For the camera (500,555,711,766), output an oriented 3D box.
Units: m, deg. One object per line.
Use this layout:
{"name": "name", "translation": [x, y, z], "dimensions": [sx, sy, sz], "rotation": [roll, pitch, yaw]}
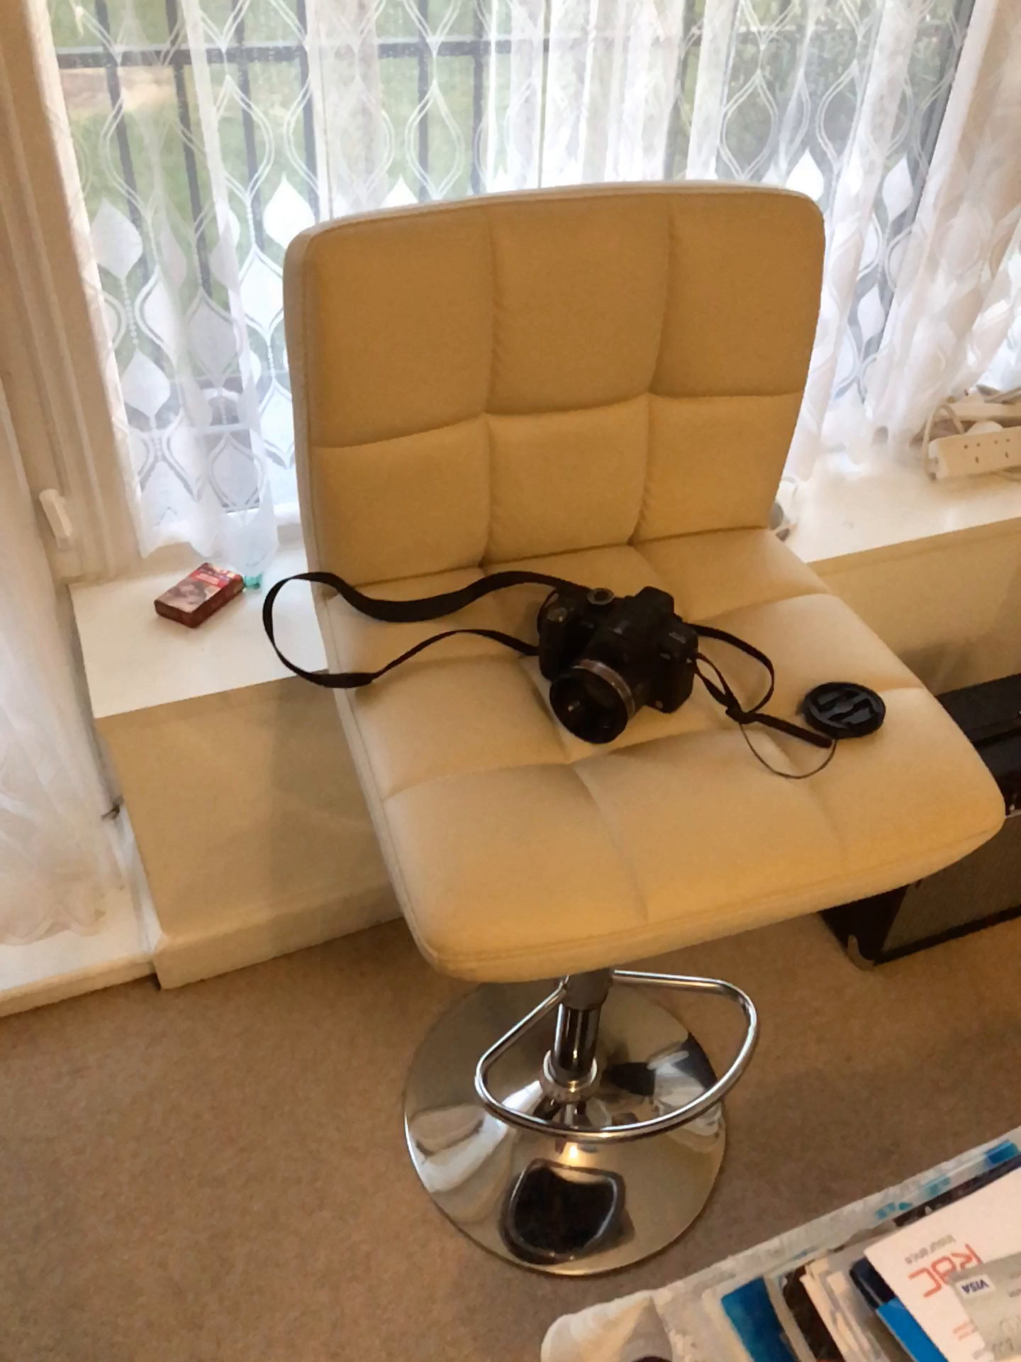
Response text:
{"name": "camera", "translation": [0.066, -0.017, 0.791], "dimensions": [0.112, 0.076, 0.098], "rotation": [22, 44, 21]}
